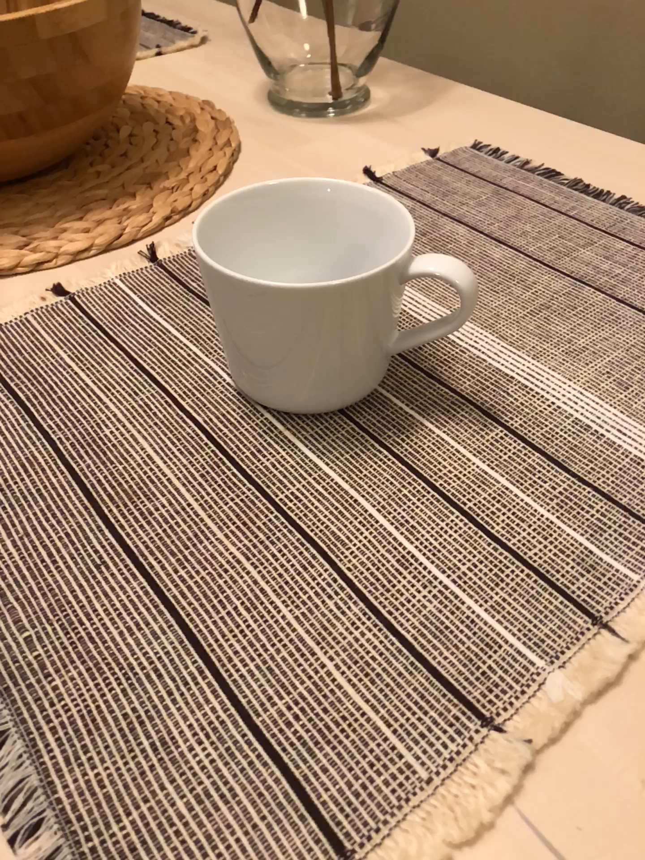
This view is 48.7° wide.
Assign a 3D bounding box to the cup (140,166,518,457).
[{"bbox_3d":[0.007,-0.062,0.339,0.140,0.070,0.101,14,45,17],"label":"cup"}]
